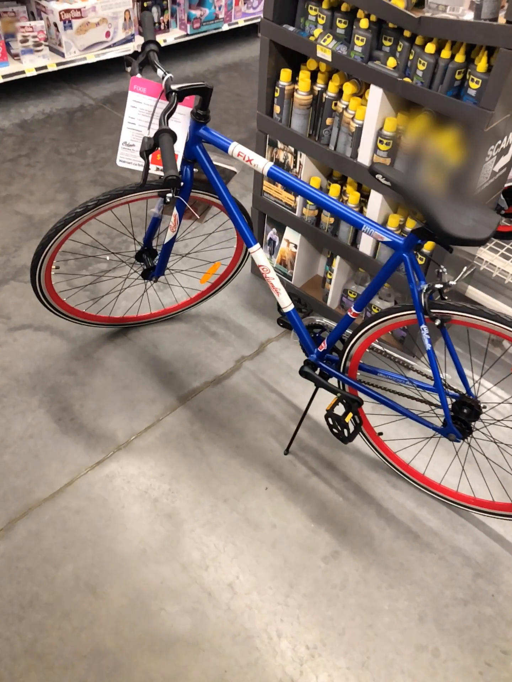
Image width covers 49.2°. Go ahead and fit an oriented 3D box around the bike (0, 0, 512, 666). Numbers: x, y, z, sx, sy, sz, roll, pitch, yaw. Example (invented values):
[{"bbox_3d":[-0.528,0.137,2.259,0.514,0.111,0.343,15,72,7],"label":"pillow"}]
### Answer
[{"bbox_3d":[0.093,-0.056,1.230,1.491,0.937,0.604,24,48,11],"label":"bike"}]
